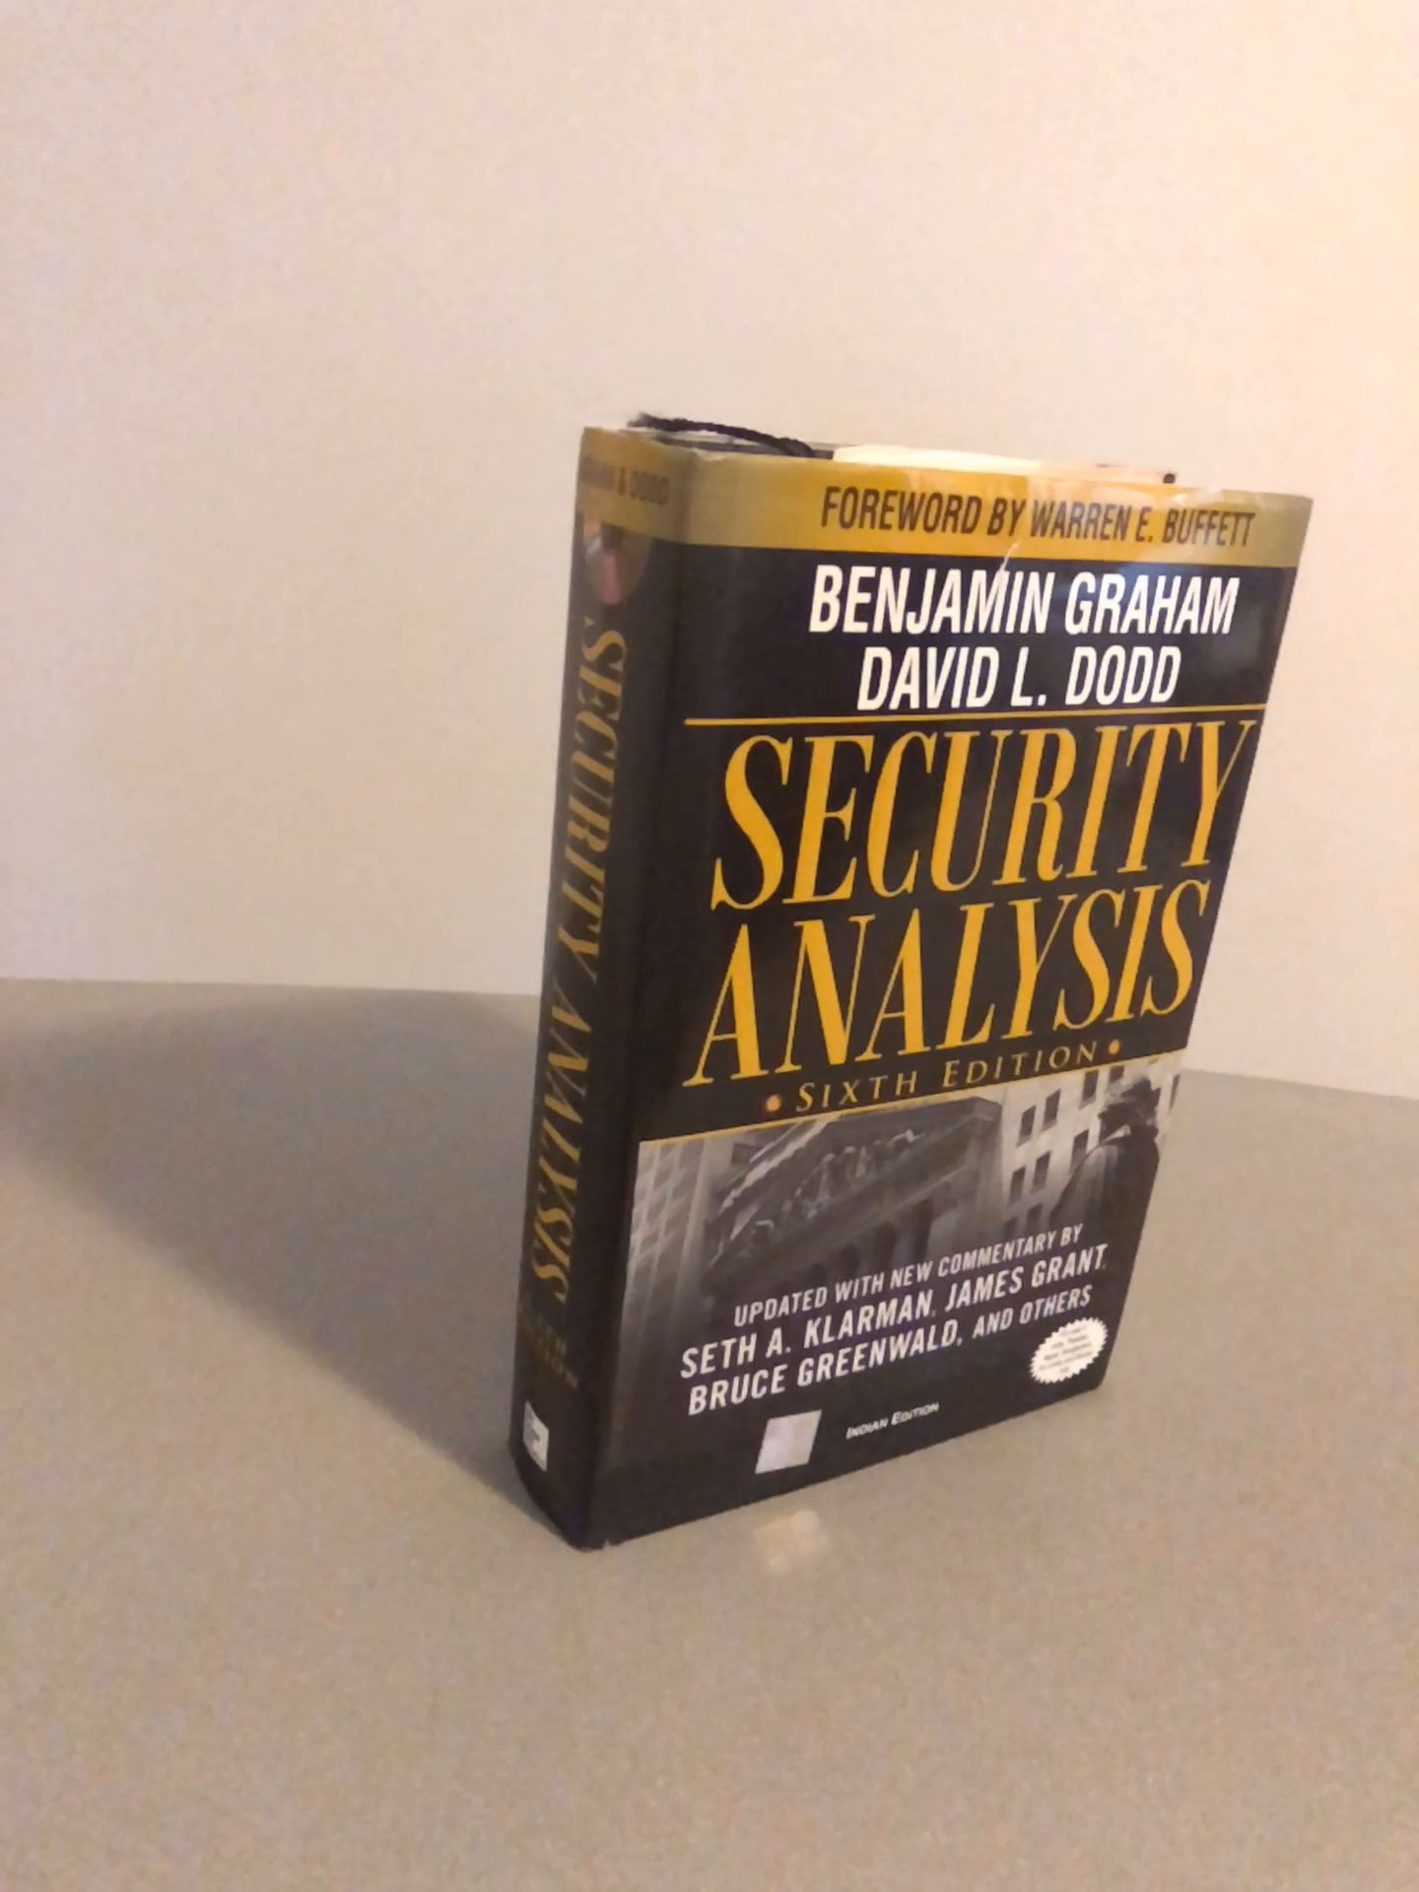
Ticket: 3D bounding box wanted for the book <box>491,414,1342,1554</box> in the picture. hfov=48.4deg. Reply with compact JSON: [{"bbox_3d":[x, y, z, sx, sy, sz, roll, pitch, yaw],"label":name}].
[{"bbox_3d":[0.042,0.008,0.359,0.164,0.231,0.047,-6,24,-29],"label":"book"}]
